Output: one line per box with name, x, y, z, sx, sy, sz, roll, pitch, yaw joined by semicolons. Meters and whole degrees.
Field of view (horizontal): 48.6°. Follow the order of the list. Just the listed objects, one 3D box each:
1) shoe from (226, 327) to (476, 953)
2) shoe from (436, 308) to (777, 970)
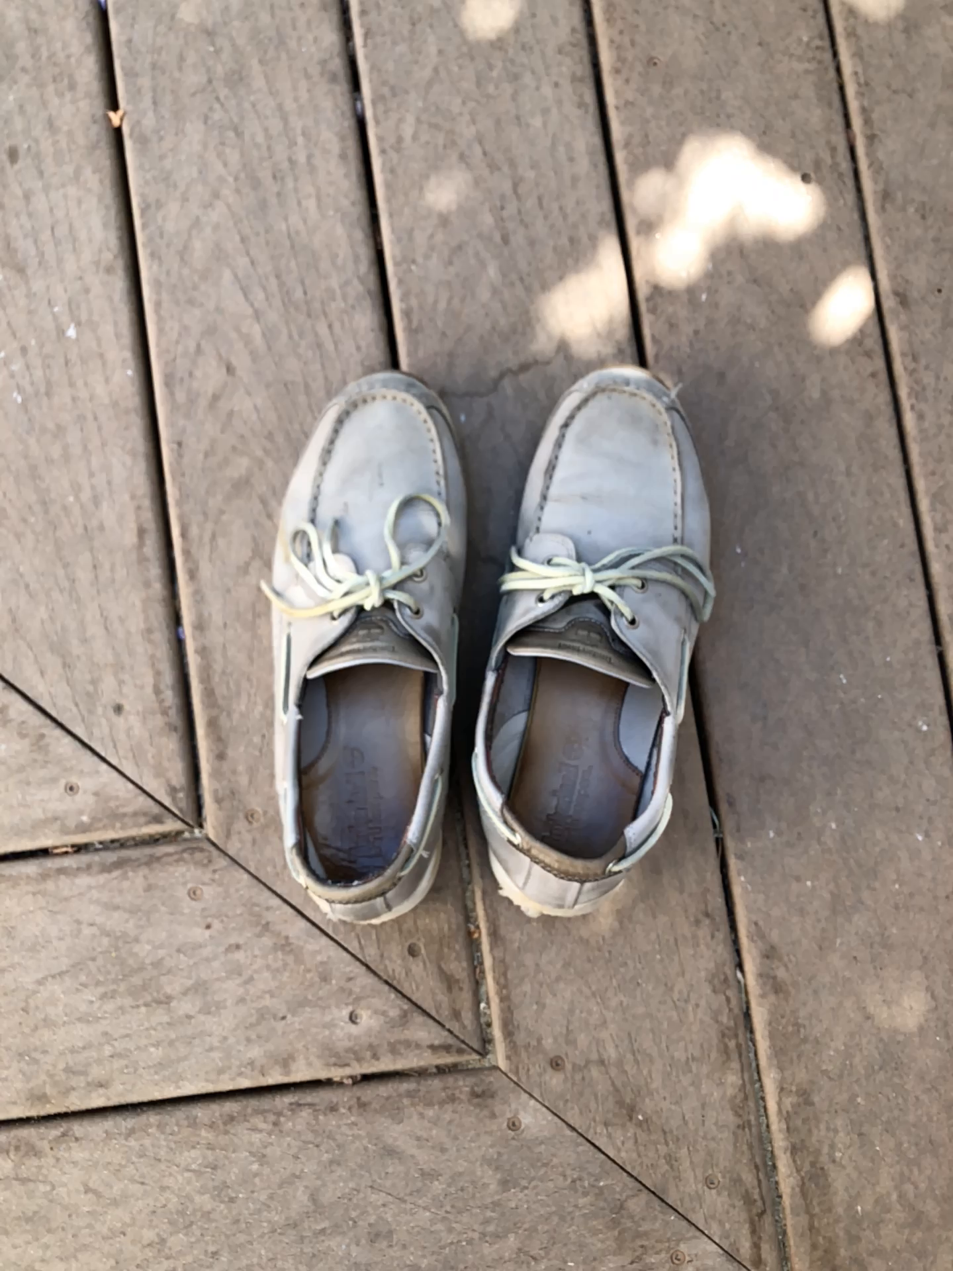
shoe;-0.061;0.003;0.569;0.119;0.096;0.310;0;84;0
shoe;0.067;0.001;0.568;0.121;0.098;0.312;9;84;1
